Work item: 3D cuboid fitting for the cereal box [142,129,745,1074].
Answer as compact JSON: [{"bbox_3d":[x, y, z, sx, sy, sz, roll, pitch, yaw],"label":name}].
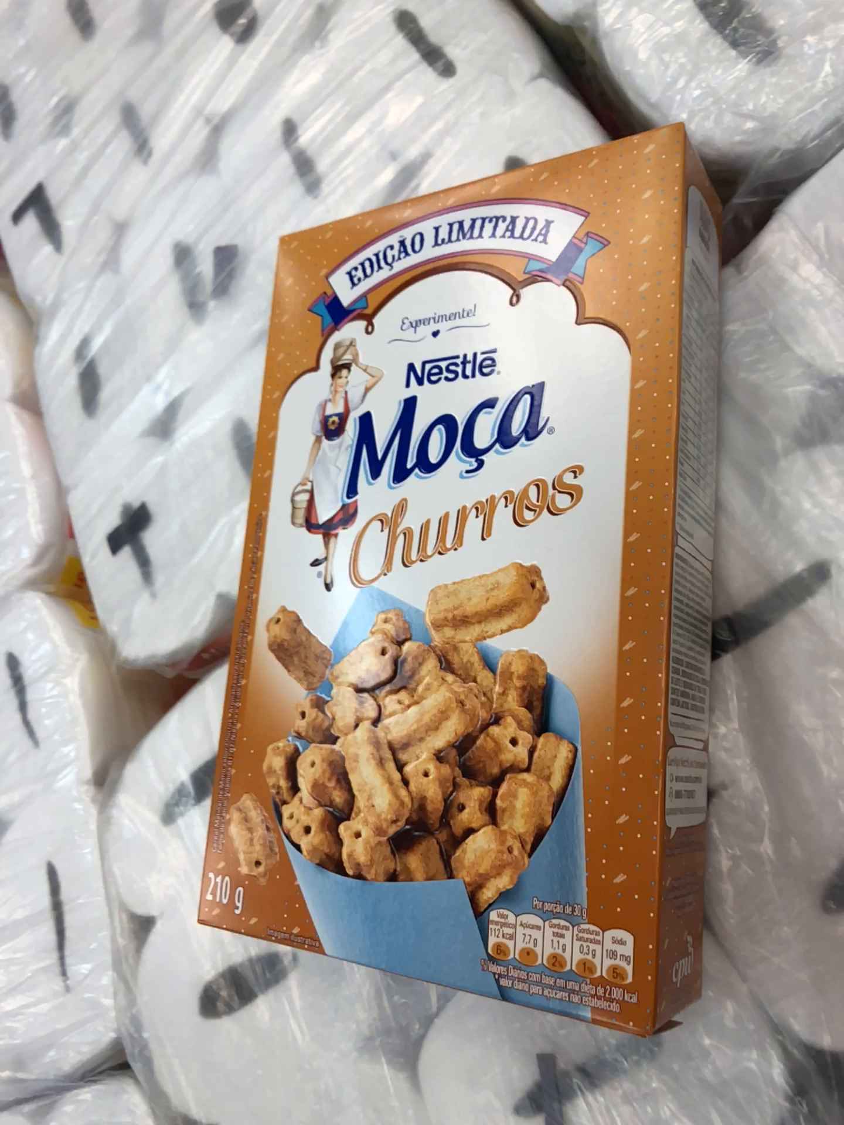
[{"bbox_3d":[0.006,0.005,0.301,0.170,0.050,0.240,-1,77,32],"label":"cereal box"}]
